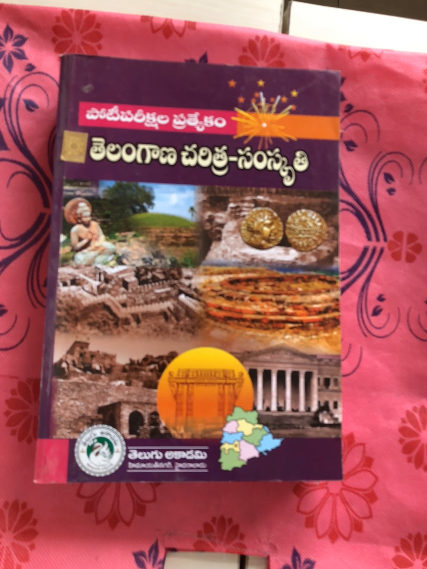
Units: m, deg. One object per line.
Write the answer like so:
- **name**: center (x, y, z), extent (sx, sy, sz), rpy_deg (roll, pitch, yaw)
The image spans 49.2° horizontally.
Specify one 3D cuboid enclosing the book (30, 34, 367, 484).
- **book**: center (-0.006, -0.018, 0.318), extent (0.200, 0.050, 0.280), rpy_deg (2, 83, -5)
